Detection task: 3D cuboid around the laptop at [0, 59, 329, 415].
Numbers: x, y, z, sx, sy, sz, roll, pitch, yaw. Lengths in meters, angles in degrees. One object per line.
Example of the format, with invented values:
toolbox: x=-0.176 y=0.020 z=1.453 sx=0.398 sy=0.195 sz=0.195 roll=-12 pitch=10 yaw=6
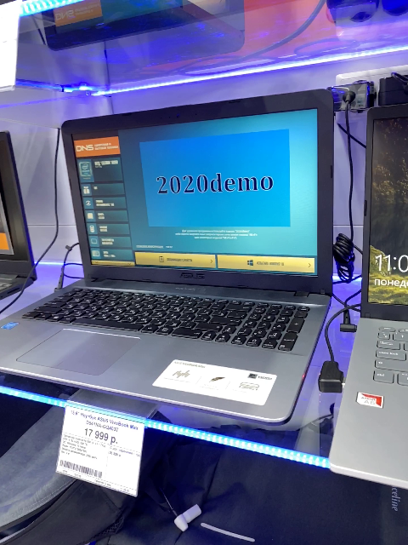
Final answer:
laptop: x=-0.073 y=-0.056 z=0.457 sx=0.372 sy=0.232 sz=0.262 roll=2 pitch=18 yaw=24
